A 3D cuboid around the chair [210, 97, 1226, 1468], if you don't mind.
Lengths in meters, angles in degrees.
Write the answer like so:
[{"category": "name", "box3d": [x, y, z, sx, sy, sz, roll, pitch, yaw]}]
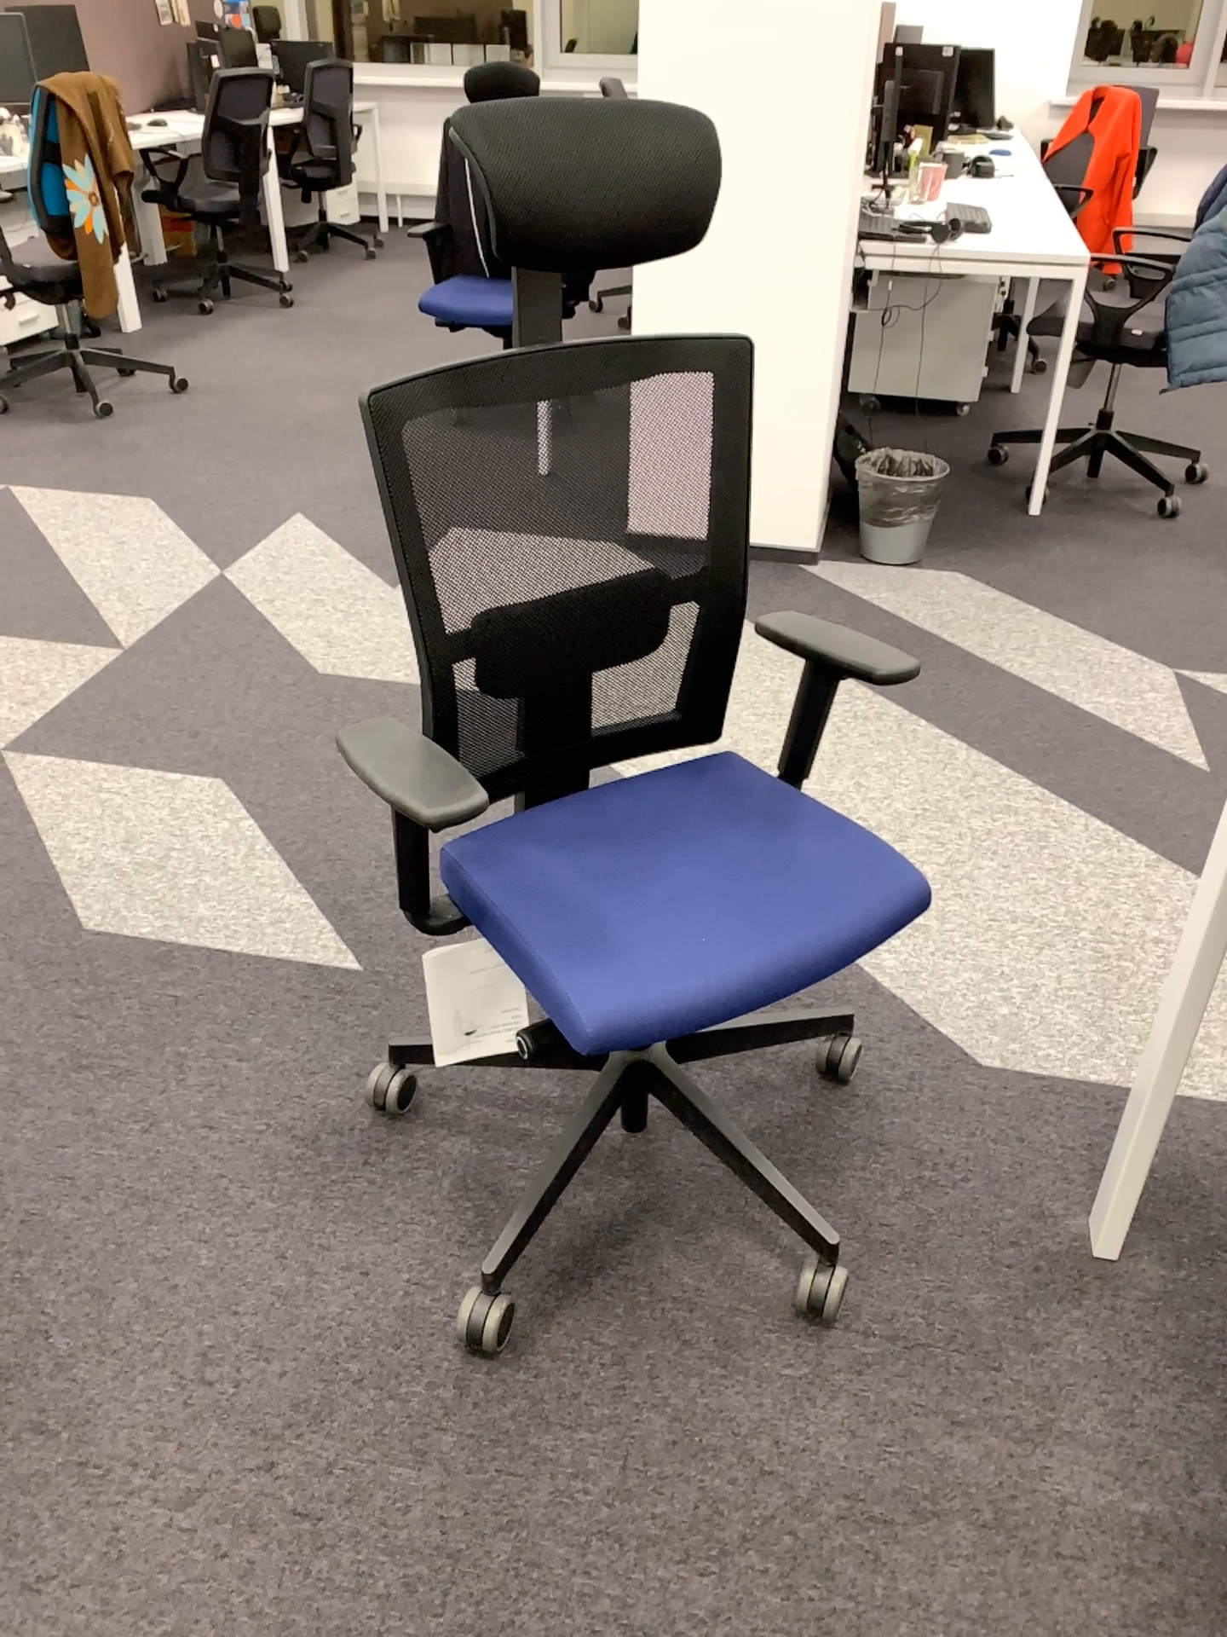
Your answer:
[{"category": "chair", "box3d": [0.080, -0.068, 1.409, 0.731, 1.243, 0.673, -14, 36, -22]}]
